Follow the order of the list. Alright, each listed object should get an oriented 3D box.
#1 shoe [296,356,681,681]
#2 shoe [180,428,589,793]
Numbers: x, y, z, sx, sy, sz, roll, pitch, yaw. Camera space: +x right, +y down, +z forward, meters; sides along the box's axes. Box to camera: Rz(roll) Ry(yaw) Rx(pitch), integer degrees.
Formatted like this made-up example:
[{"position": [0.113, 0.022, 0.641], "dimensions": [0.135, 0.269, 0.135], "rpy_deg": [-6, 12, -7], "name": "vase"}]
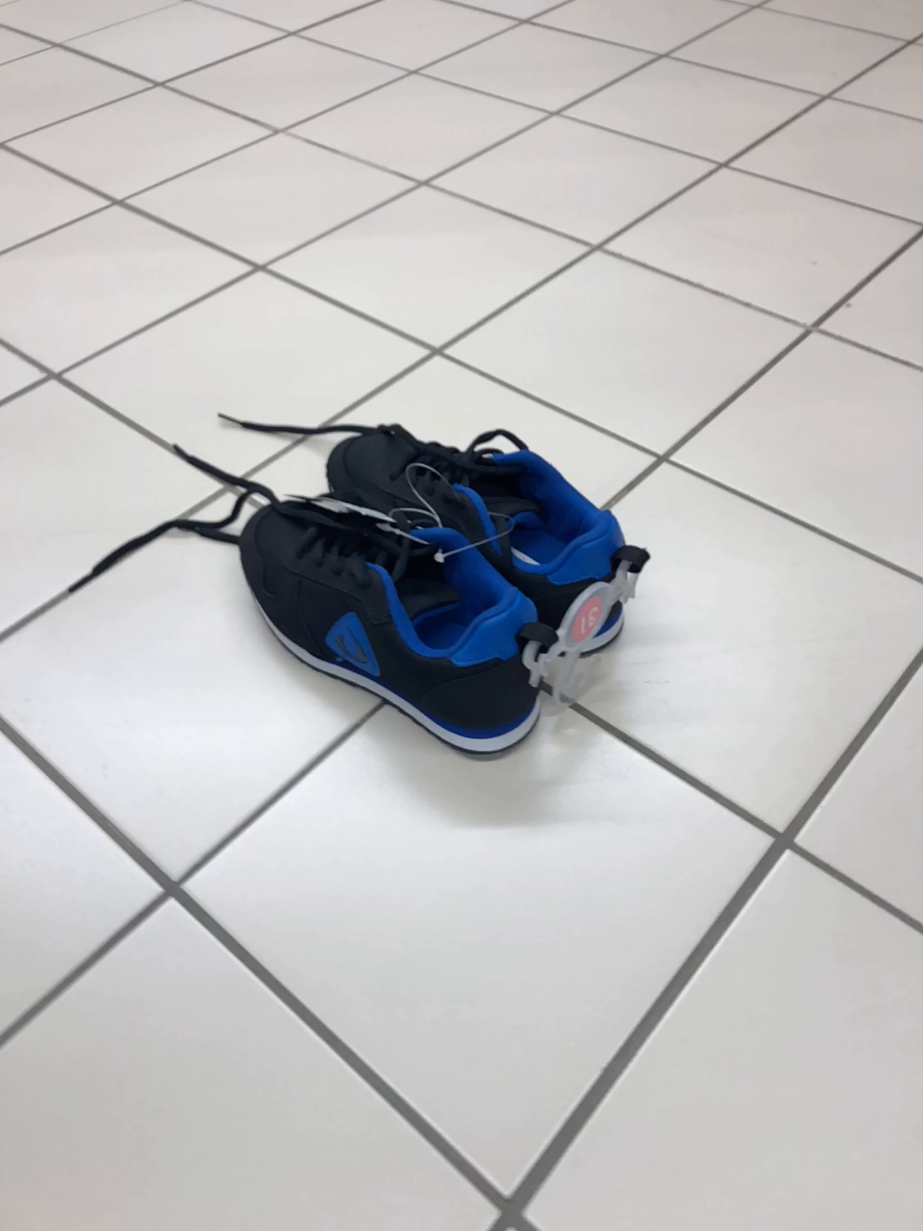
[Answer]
[{"position": [0.011, -0.061, 0.582], "dimensions": [0.207, 0.082, 0.076], "rpy_deg": [30, 55, 27], "name": "shoe"}, {"position": [-0.043, -0.009, 0.537], "dimensions": [0.207, 0.082, 0.076], "rpy_deg": [30, 55, 27], "name": "shoe"}]
